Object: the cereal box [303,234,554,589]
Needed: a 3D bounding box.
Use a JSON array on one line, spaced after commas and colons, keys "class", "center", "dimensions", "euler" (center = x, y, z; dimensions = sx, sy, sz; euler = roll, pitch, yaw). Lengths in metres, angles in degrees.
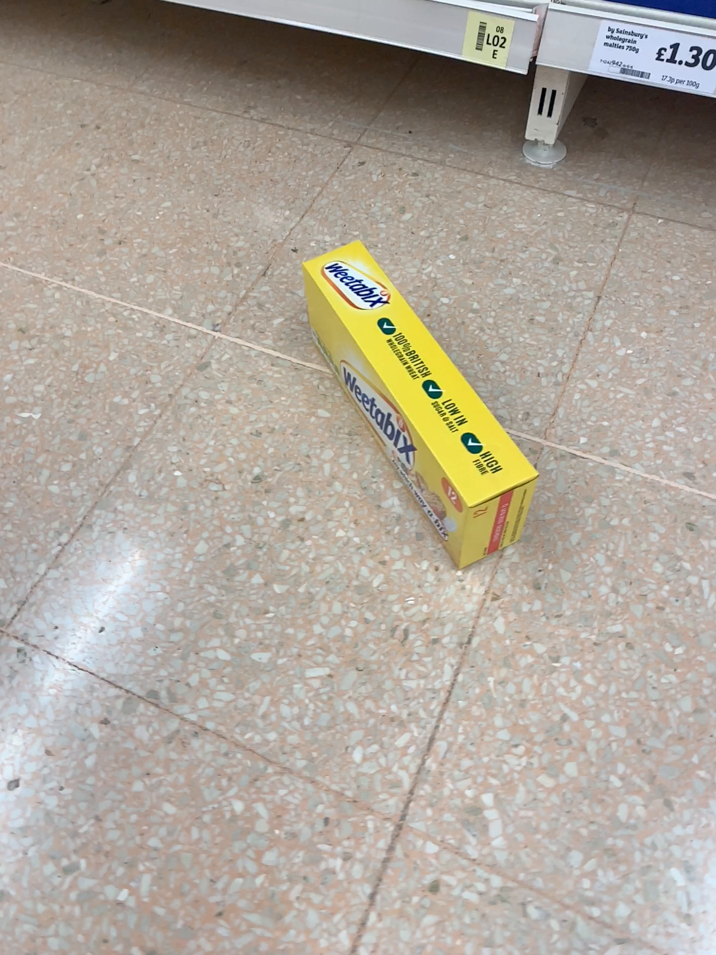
[{"class": "cereal box", "center": [0.040, -0.056, 0.541], "dimensions": [0.050, 0.099, 0.262], "euler": [-24, 59, -12]}]
